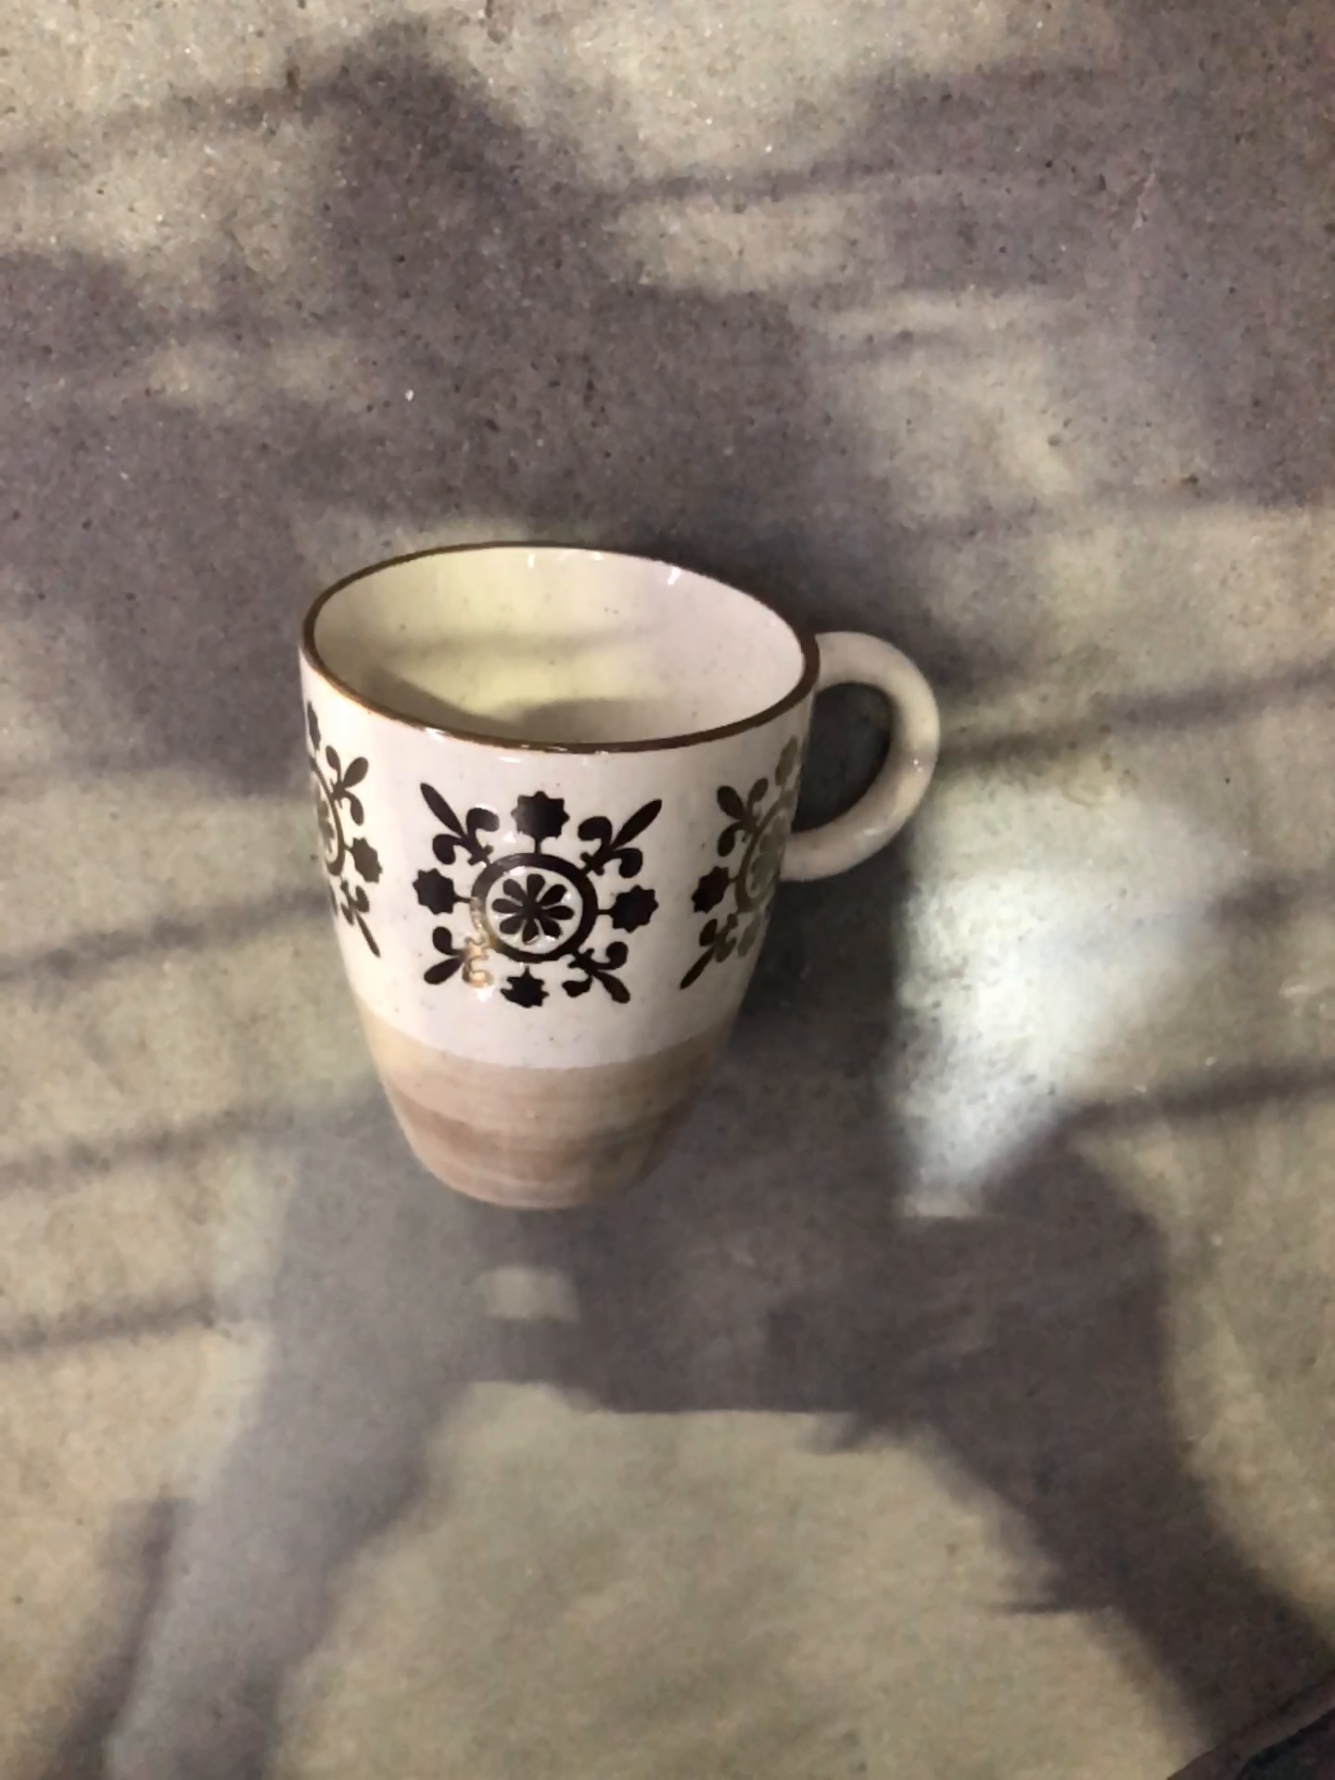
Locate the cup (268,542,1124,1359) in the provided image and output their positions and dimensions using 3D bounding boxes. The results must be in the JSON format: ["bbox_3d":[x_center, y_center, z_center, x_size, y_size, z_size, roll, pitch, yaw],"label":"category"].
[{"bbox_3d":[-0.003,0.003,0.230,0.100,0.070,0.090,-7,124,-21],"label":"cup"}]
